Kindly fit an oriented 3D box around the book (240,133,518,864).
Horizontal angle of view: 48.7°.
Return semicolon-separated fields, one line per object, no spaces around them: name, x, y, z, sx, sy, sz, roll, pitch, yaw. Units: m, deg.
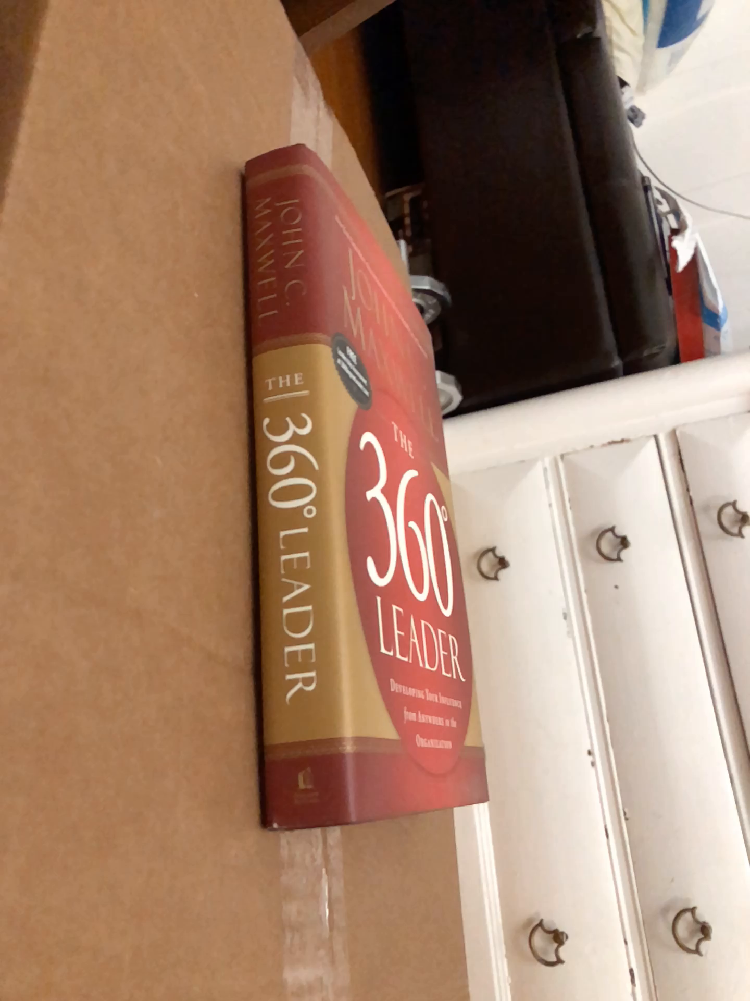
book;0.007;0.010;0.338;0.181;0.030;0.240;42;39;-62
